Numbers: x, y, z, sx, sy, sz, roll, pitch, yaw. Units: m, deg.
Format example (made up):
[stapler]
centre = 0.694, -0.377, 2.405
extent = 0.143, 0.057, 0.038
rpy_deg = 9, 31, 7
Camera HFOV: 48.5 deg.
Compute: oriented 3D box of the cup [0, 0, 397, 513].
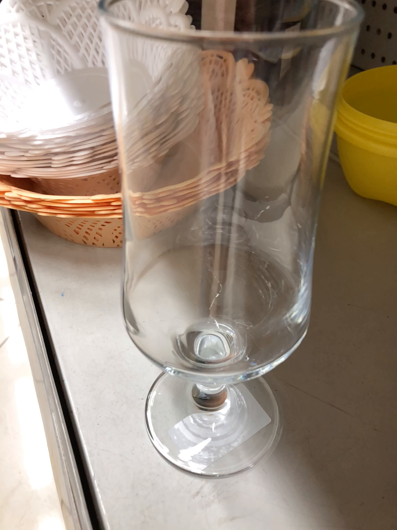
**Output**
[cup]
centre = 0.004, 0.002, 0.169
extent = 0.079, 0.177, 0.079
rpy_deg = 0, 41, 0
